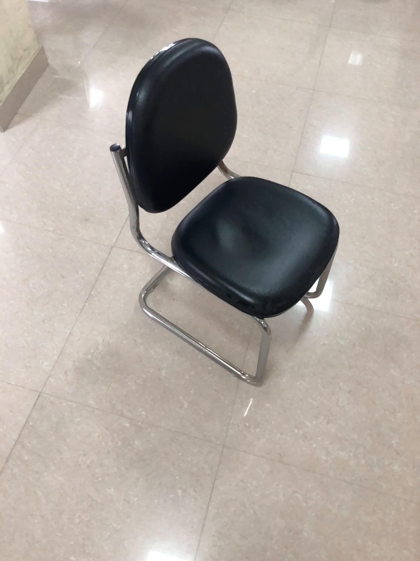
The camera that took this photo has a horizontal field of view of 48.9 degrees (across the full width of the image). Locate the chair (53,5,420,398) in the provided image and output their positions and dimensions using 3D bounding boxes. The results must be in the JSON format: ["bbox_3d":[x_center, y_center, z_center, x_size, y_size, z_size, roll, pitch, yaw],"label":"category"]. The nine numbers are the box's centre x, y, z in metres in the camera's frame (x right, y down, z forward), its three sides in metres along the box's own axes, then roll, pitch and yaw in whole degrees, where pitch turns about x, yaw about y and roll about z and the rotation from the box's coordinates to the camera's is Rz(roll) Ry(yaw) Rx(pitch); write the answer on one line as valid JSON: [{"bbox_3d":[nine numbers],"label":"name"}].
[{"bbox_3d":[0.063,-0.164,1.271,0.591,0.758,0.501,30,62,17],"label":"chair"}]
